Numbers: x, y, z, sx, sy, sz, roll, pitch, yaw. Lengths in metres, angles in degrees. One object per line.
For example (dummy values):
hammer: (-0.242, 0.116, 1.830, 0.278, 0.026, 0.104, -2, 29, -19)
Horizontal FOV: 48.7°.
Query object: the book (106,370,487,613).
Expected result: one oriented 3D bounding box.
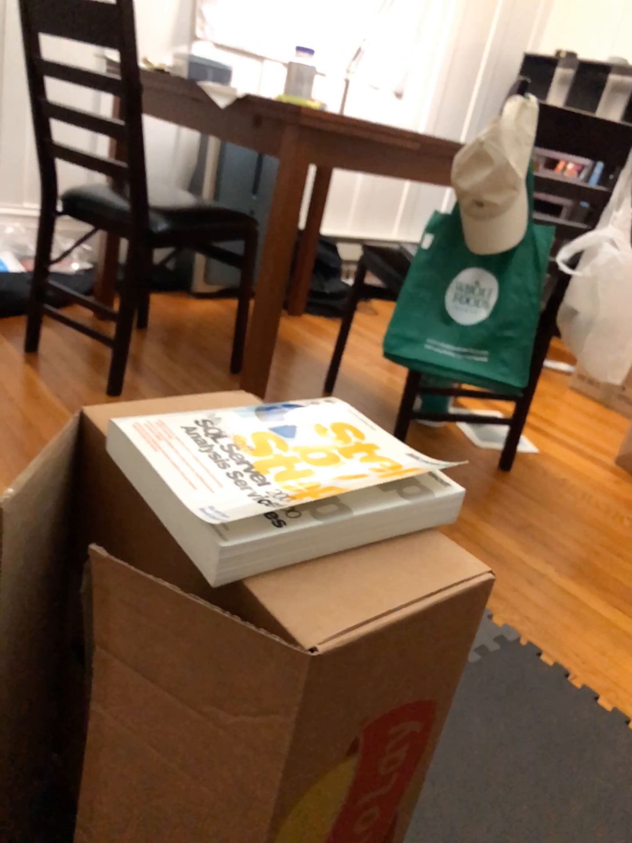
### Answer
book: (-0.014, 0.035, 0.579, 0.241, 0.050, 0.200, -12, 36, -41)
